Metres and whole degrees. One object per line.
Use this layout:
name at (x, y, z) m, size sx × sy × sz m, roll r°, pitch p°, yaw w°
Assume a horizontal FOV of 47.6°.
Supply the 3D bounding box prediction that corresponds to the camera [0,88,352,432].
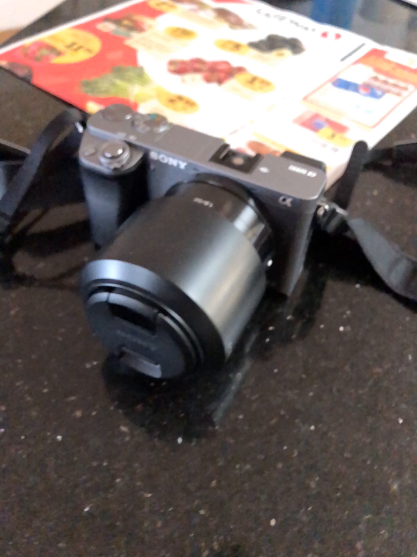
camera at (-0.018, -0.017, 0.227) m, size 0.130 × 0.070 × 0.110 m, roll 22°, pitch 53°, yaw 16°
